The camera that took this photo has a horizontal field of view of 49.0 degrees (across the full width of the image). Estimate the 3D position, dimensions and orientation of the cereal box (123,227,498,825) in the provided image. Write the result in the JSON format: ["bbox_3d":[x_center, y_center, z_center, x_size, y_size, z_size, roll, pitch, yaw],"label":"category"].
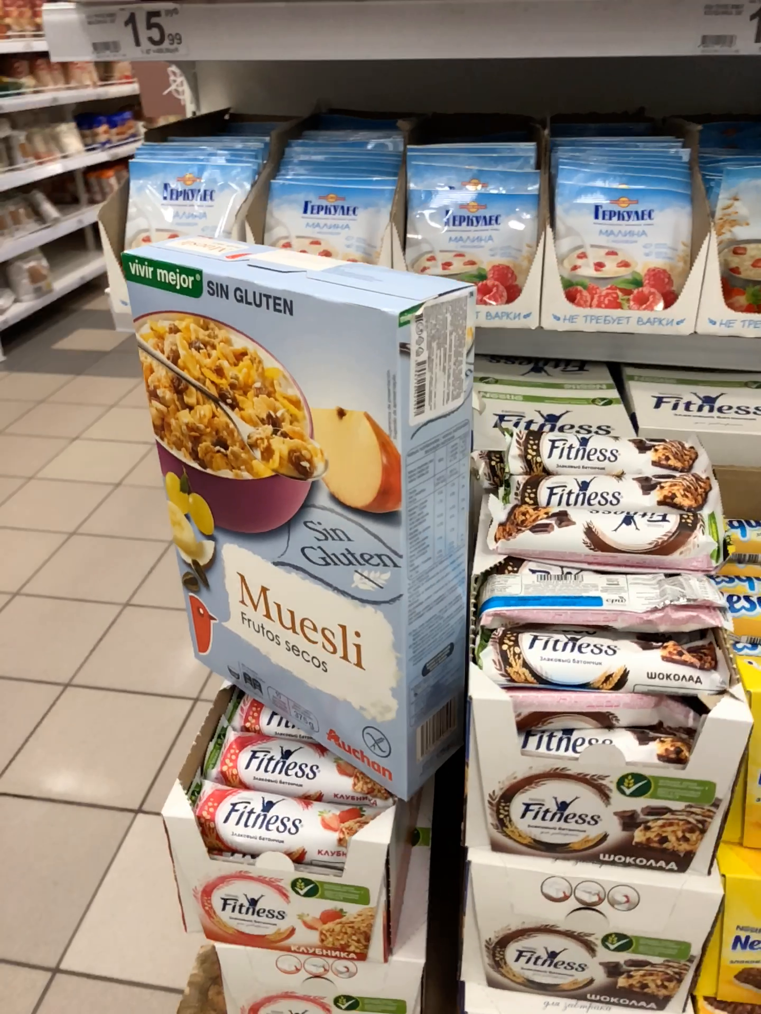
[{"bbox_3d":[-0.040,0.007,0.474,0.201,0.288,0.060,23,37,37],"label":"cereal box"}]
